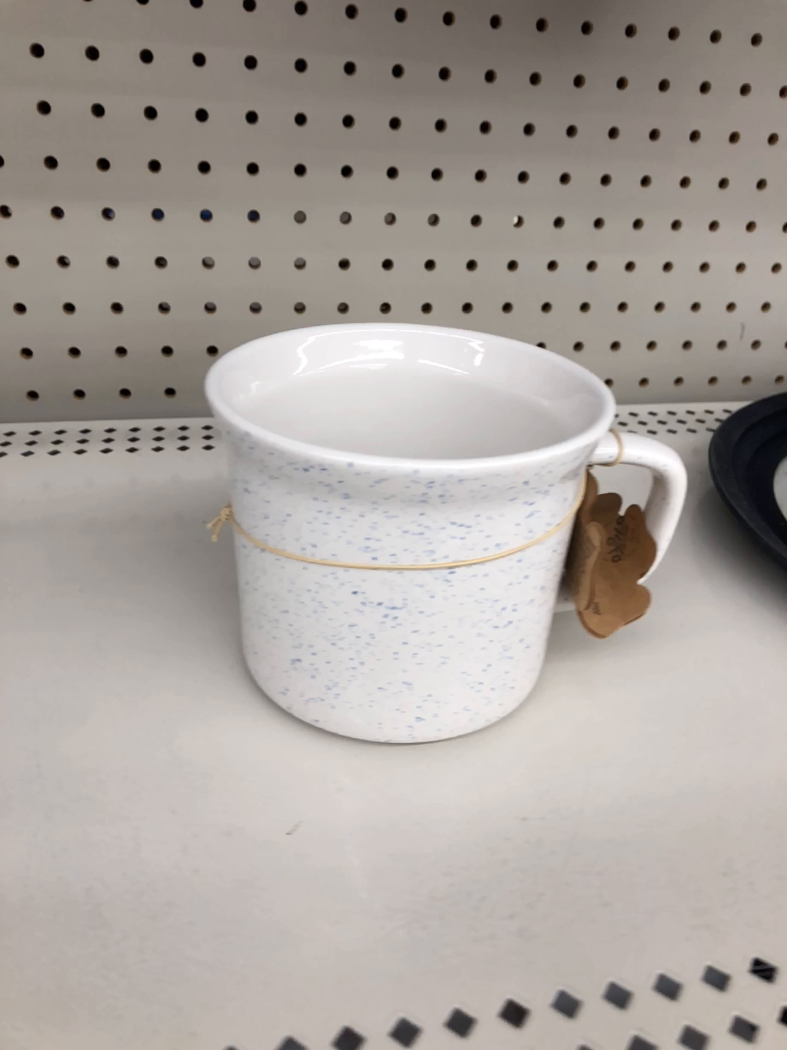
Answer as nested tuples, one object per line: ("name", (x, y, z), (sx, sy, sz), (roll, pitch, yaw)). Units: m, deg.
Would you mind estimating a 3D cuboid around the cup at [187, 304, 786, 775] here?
("cup", (0.025, -0.007, 0.267), (0.159, 0.090, 0.102), (-5, 30, -15))
